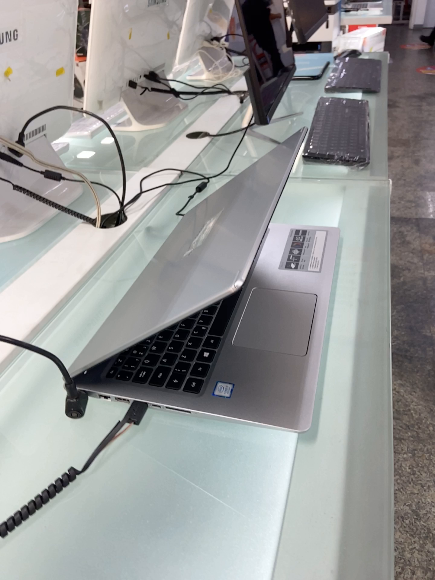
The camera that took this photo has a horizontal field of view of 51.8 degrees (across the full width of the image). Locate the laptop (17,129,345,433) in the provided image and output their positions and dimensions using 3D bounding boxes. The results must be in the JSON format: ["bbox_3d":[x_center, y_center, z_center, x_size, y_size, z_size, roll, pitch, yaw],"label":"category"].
[{"bbox_3d":[0.008,-0.055,0.501,0.236,0.138,0.362,6,37,15],"label":"laptop"}]
